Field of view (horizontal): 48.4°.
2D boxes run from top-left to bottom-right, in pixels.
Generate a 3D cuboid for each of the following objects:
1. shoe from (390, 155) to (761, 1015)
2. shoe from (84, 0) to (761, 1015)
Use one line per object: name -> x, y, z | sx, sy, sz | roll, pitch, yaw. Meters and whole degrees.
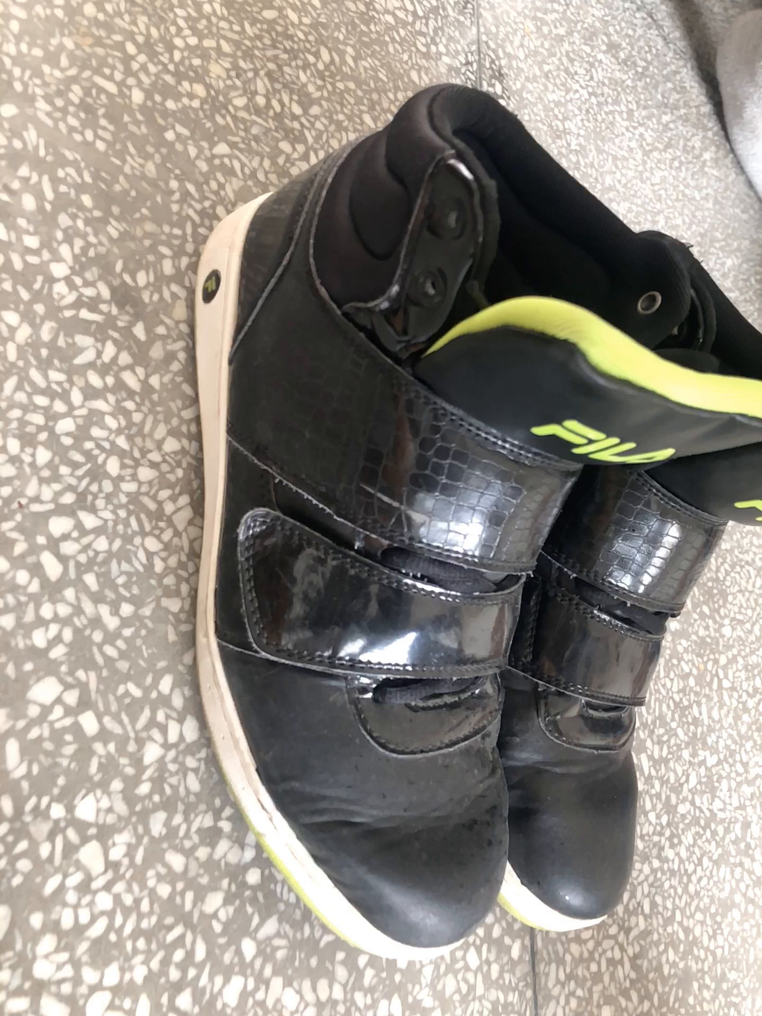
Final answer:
shoe -> 0.107, 0.036, 0.322 | 0.120, 0.147, 0.250 | 11, 68, -42
shoe -> 0.009, 0.007, 0.264 | 0.120, 0.147, 0.270 | 2, 74, -44
